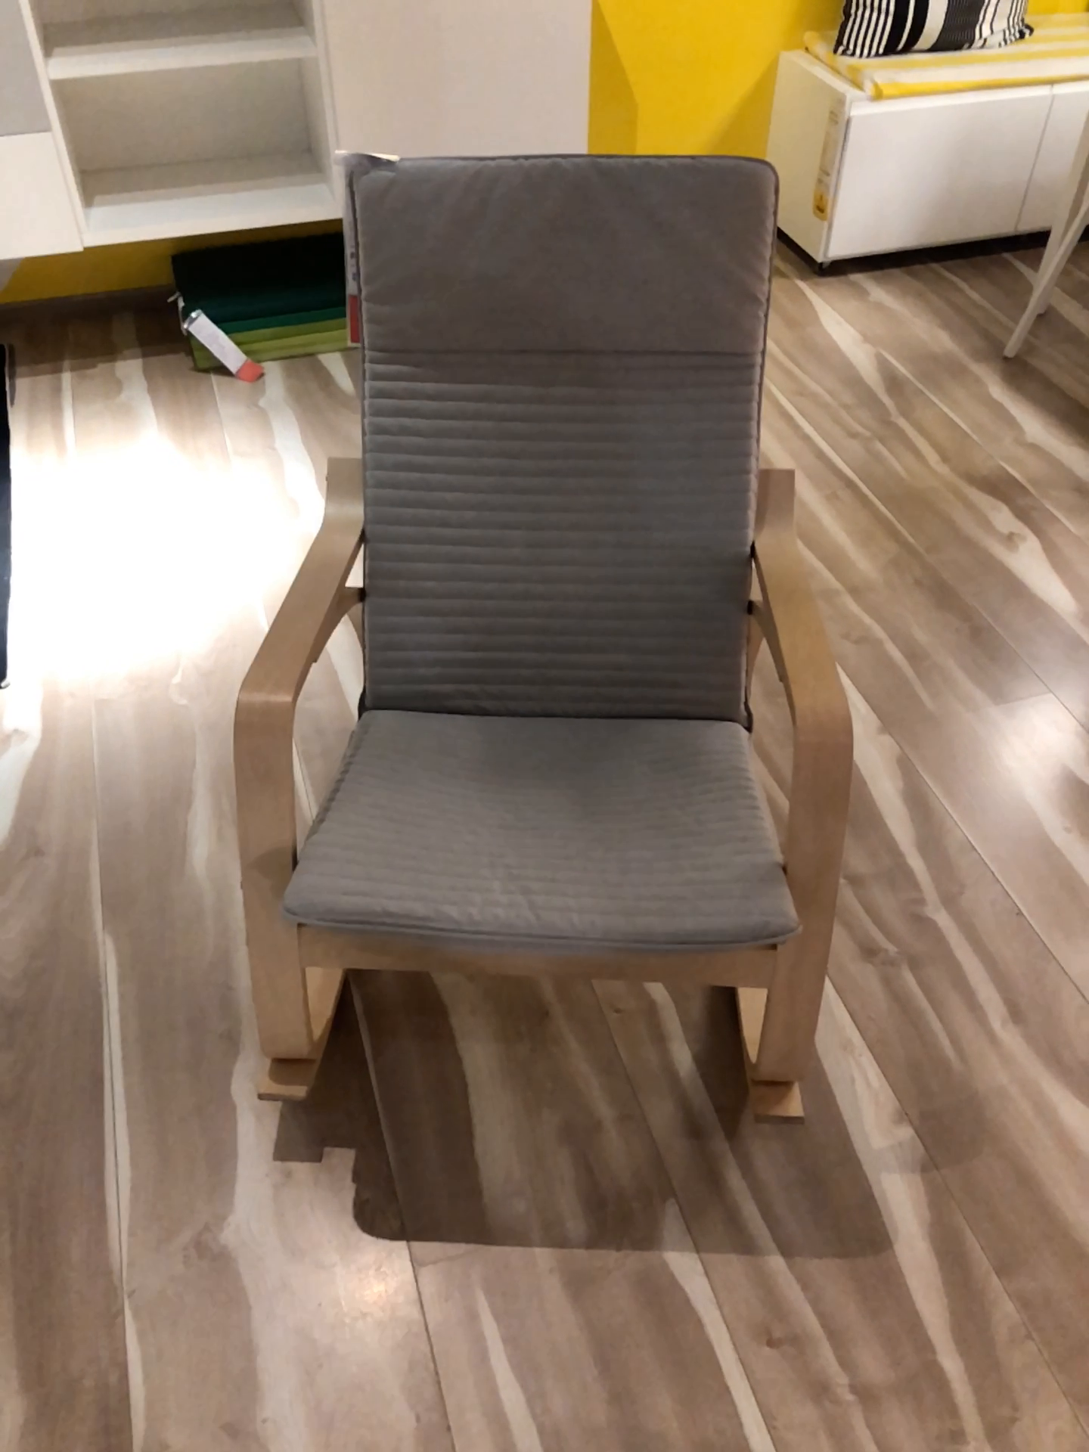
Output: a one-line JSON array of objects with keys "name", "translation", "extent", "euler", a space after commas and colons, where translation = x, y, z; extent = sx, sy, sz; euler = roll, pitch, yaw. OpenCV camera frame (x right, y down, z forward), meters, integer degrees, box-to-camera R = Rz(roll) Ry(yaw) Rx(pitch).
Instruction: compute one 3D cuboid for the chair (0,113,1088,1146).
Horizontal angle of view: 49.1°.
[{"name": "chair", "translation": [0.005, -0.082, 1.384], "extent": [0.750, 0.943, 0.705], "euler": [1, 44, 1]}]
